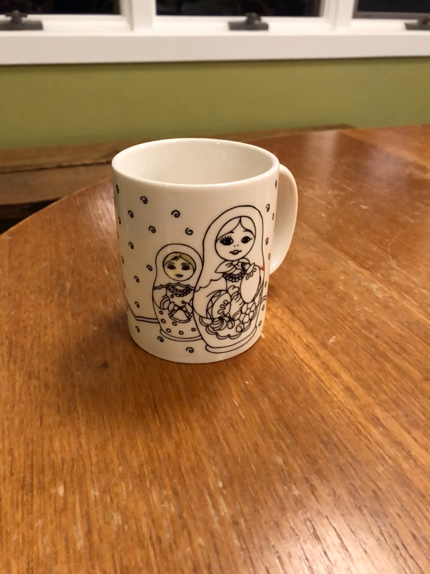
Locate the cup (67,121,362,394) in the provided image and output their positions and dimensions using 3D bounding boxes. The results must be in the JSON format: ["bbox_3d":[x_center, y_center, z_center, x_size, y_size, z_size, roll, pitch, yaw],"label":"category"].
[{"bbox_3d":[0.001,-0.028,0.274,0.127,0.099,0.088,-22,37,-33],"label":"cup"}]
